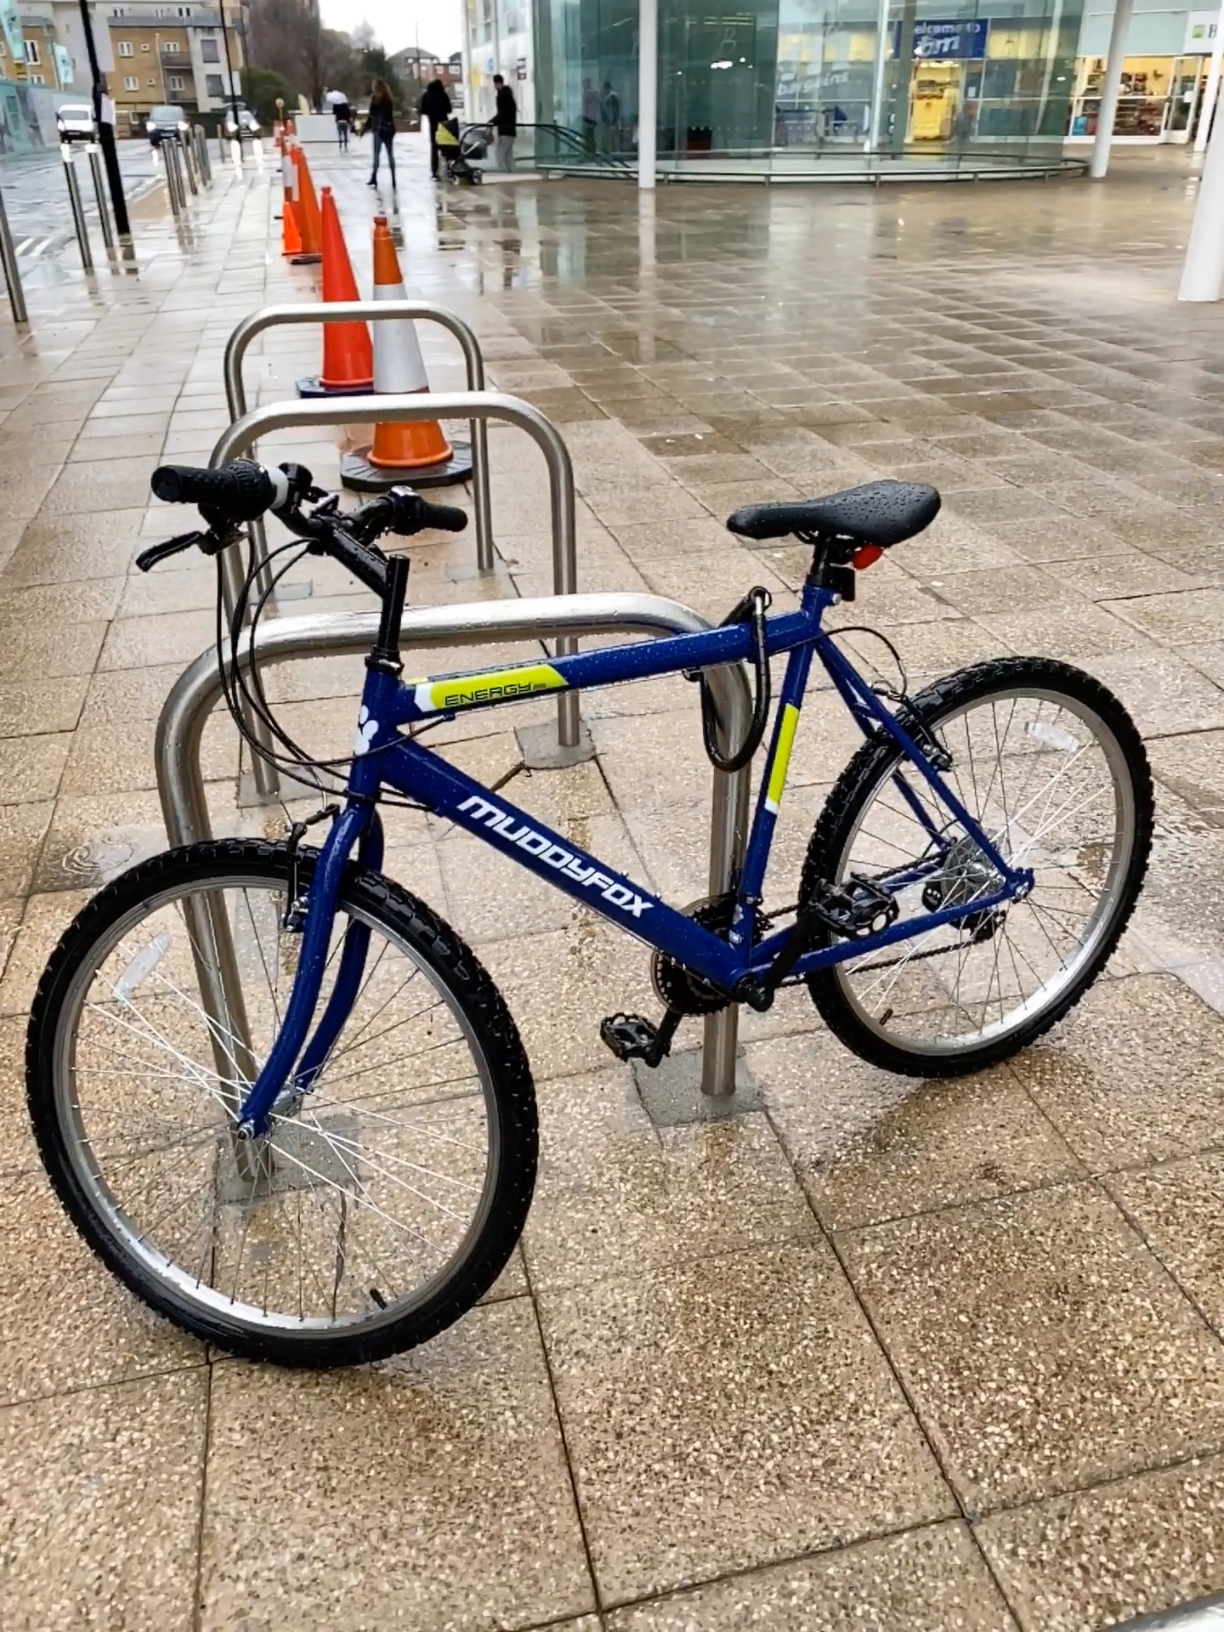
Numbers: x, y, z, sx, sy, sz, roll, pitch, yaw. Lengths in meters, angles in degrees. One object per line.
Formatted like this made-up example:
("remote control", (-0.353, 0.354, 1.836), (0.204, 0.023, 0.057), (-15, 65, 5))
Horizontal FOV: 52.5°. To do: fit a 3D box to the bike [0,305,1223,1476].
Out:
("bike", (0.056, 0.003, 1.623), (1.594, 1.012, 0.600), (-12, 31, -15))
